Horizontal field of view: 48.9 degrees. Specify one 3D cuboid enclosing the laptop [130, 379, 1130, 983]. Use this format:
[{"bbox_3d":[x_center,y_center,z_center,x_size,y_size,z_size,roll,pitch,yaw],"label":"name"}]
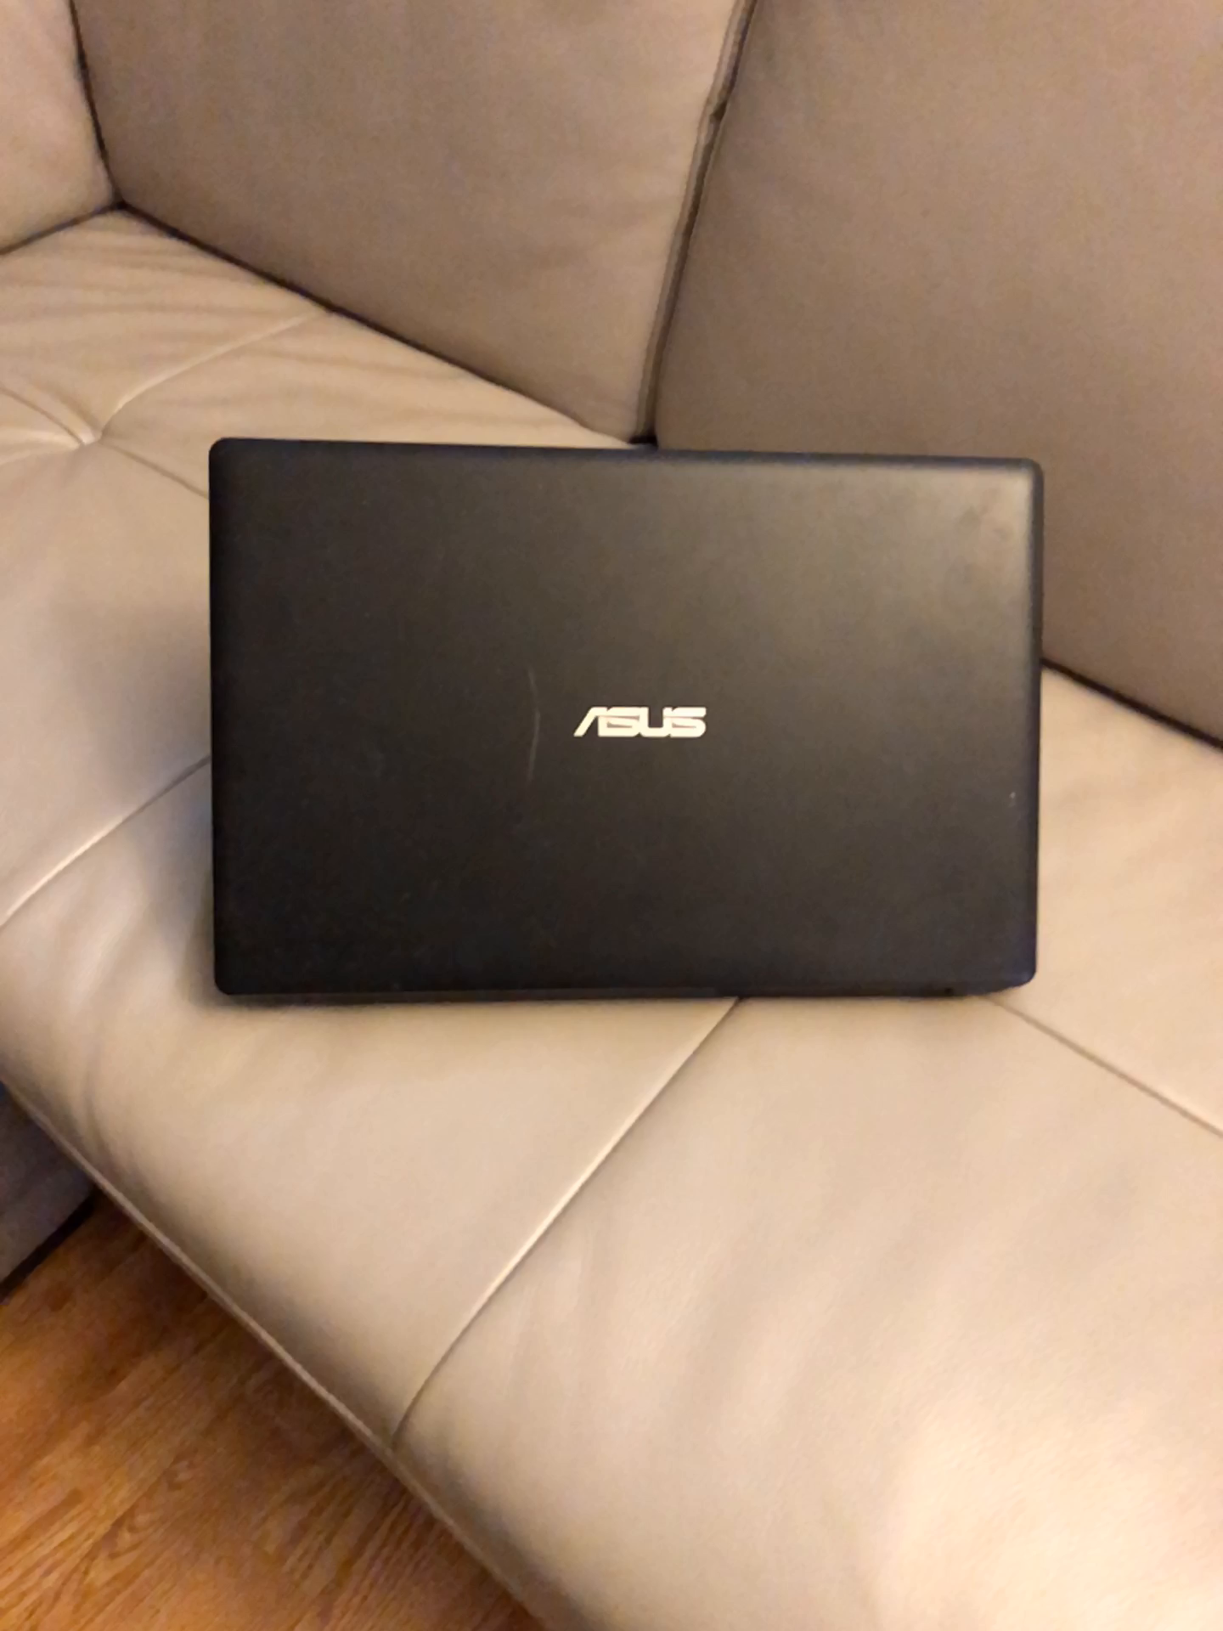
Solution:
[{"bbox_3d":[0.003,-0.065,0.634,0.370,0.155,0.243,0,50,-4],"label":"laptop"}]
